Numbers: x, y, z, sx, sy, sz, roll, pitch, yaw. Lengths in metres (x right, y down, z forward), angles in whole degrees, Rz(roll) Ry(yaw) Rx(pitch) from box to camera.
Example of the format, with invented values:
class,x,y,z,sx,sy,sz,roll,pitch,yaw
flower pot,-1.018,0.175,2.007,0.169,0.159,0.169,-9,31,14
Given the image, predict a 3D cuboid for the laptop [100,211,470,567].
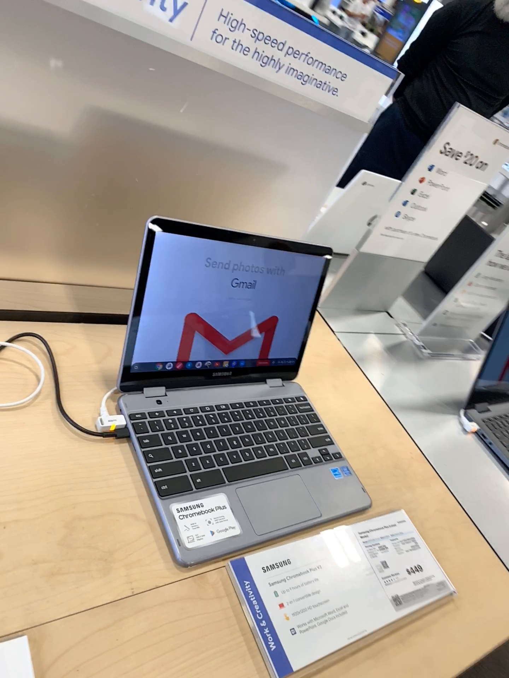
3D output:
class,x,y,z,sx,sy,sz,roll,pitch,yaw
laptop,0.021,0.039,0.594,0.274,0.181,0.288,0,47,-39
